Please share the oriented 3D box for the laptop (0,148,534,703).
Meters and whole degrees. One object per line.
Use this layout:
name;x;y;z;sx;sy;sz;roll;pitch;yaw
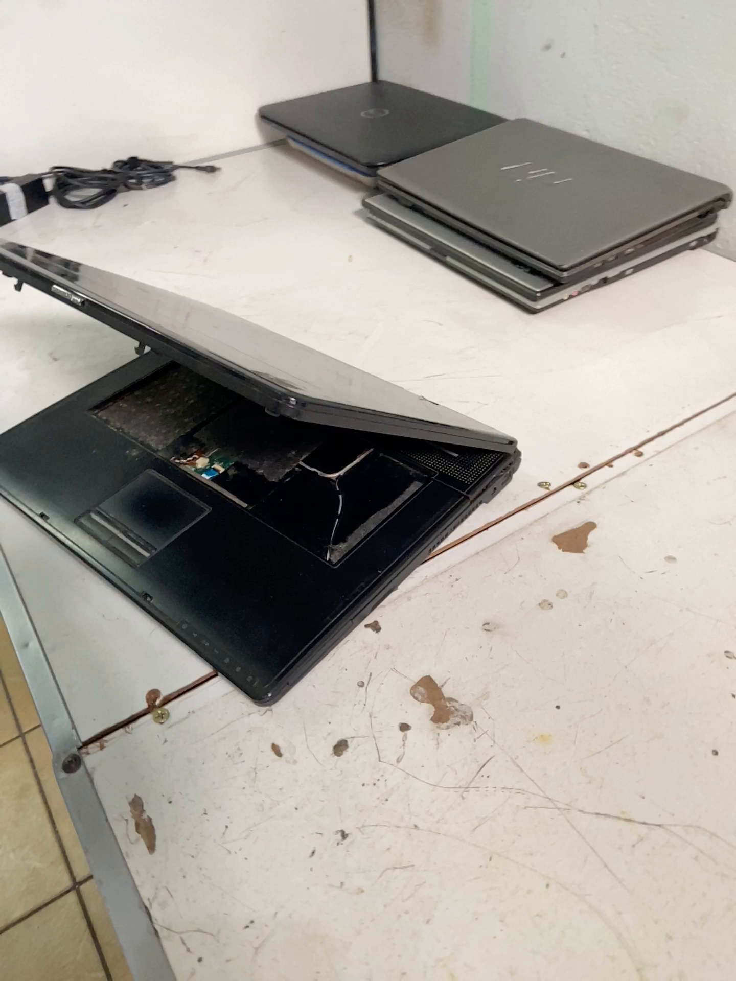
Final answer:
laptop;-0.110;-0.085;0.533;0.349;0.164;0.261;28;52;32
